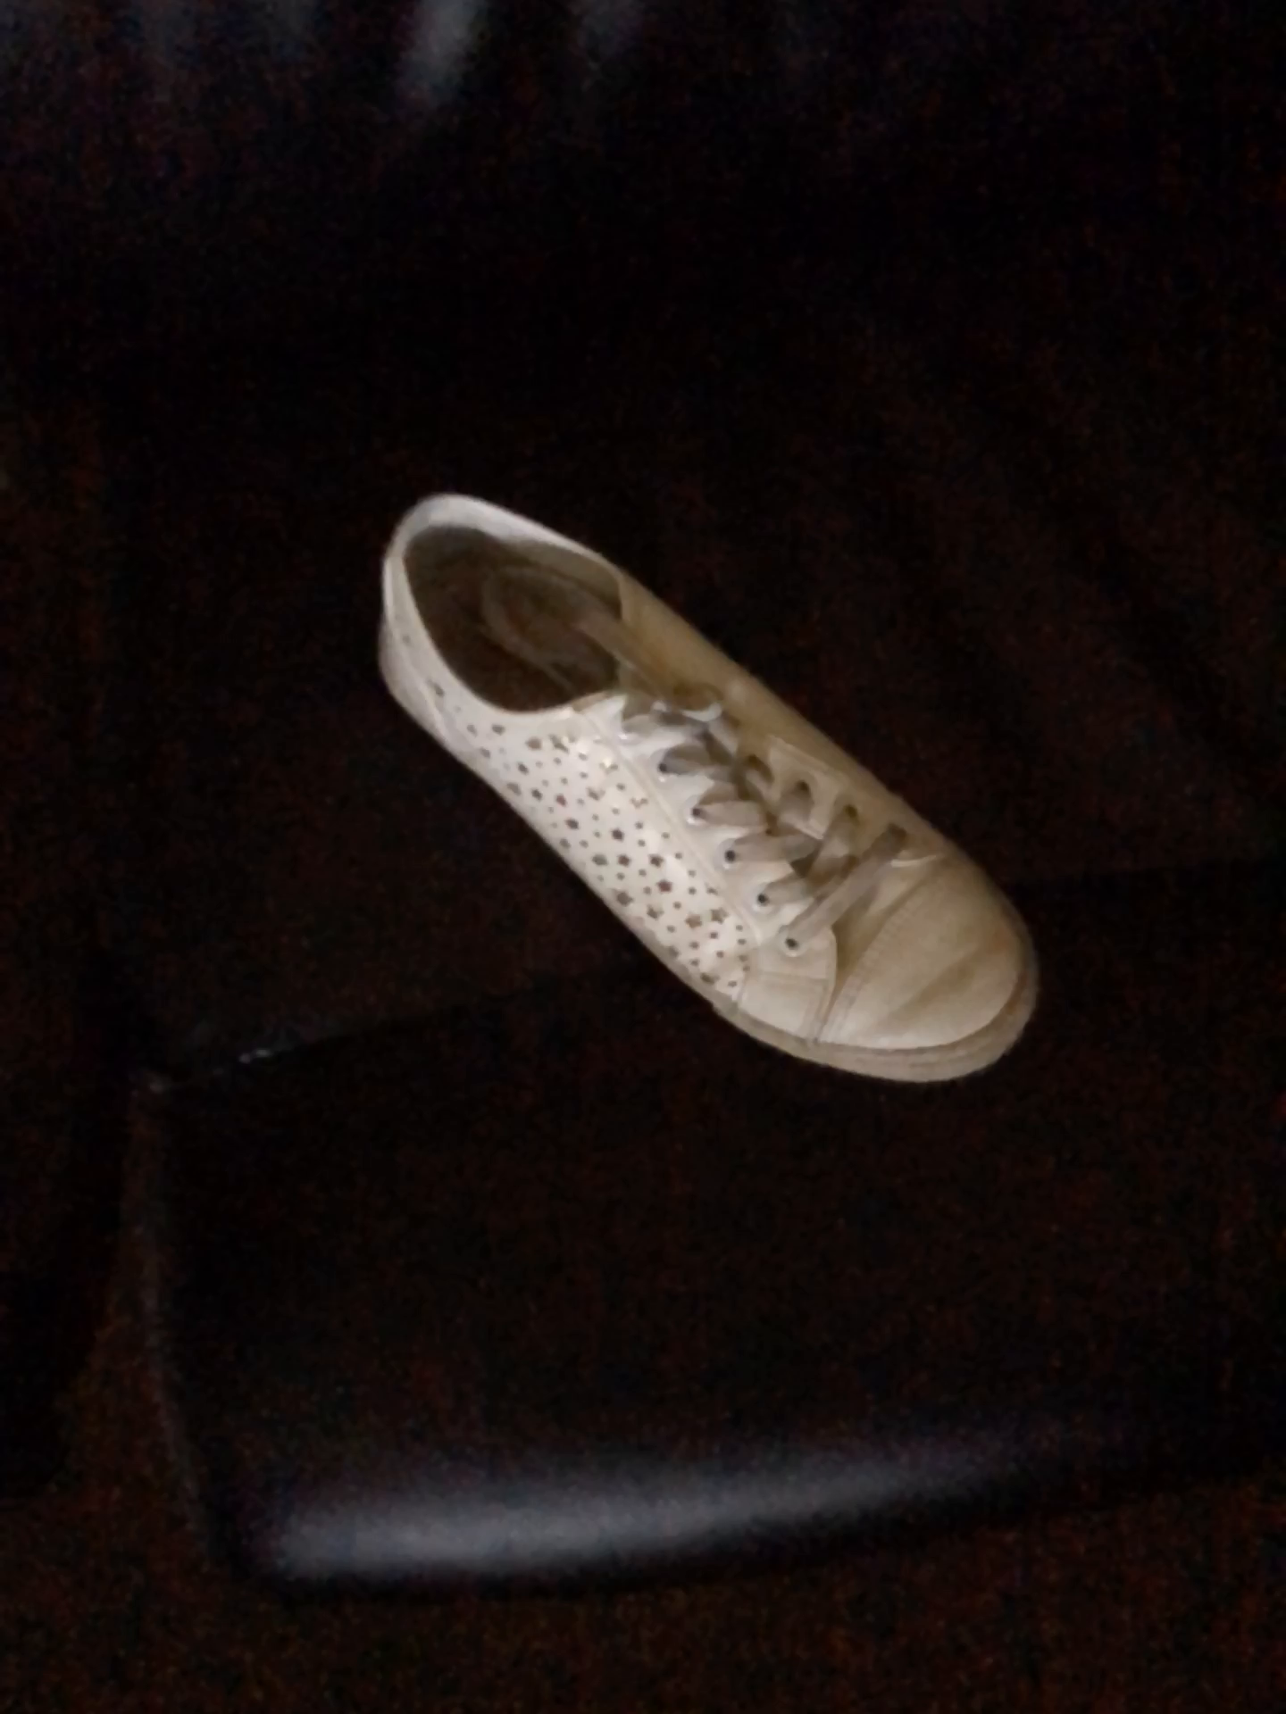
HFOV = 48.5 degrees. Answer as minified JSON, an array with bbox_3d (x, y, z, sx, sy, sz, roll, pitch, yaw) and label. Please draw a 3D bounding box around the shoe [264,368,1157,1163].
[{"bbox_3d":[0.017,-0.028,0.468,0.260,0.100,0.100,39,81,15],"label":"shoe"}]
